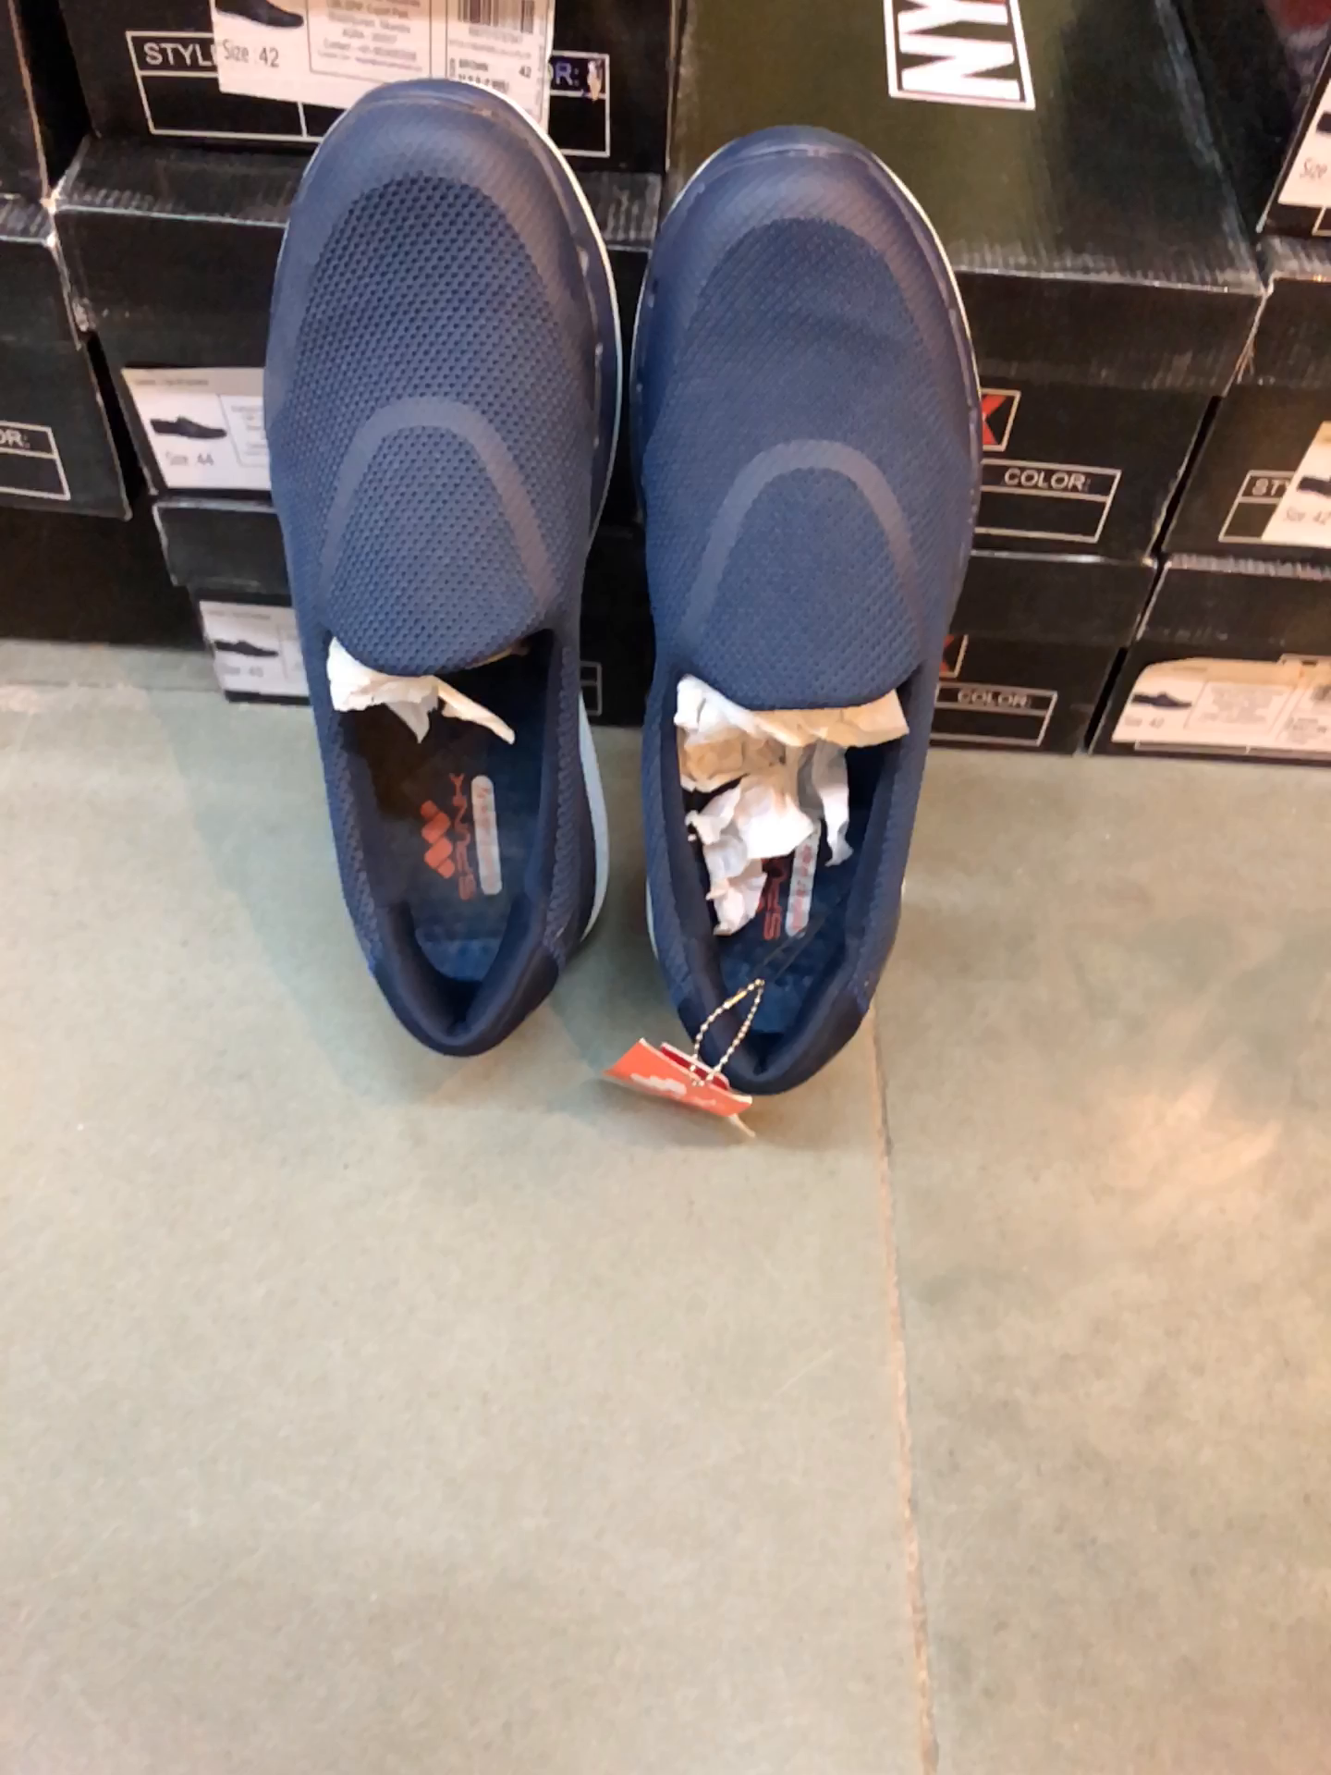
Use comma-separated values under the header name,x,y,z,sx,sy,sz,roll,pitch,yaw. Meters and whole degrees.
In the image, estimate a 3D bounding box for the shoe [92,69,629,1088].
name,x,y,z,sx,sy,sz,roll,pitch,yaw
shoe,-0.069,-0.085,0.436,0.109,0.272,0.110,1,29,1

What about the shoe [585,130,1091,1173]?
name,x,y,z,sx,sy,sz,roll,pitch,yaw
shoe,0.035,-0.060,0.419,0.107,0.272,0.100,1,28,0
